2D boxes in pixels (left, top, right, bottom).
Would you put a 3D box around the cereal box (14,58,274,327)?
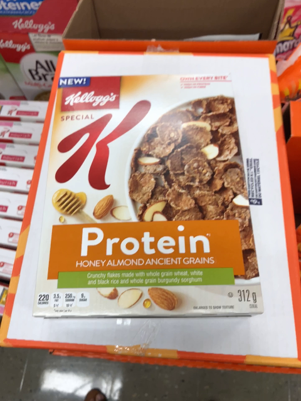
[{"bbox_3d":[-0.006,-0.015,0.336,0.200,0.060,0.260,-2,68,3],"label":"cereal box"}]
